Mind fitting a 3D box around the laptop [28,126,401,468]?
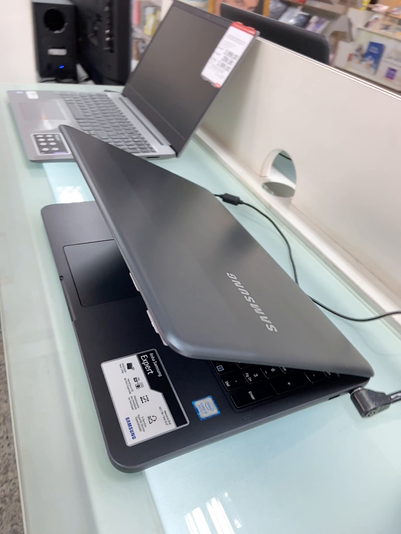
[{"bbox_3d":[-0.026,-0.029,0.436,0.233,0.101,0.377,-10,41,-24],"label":"laptop"}]
